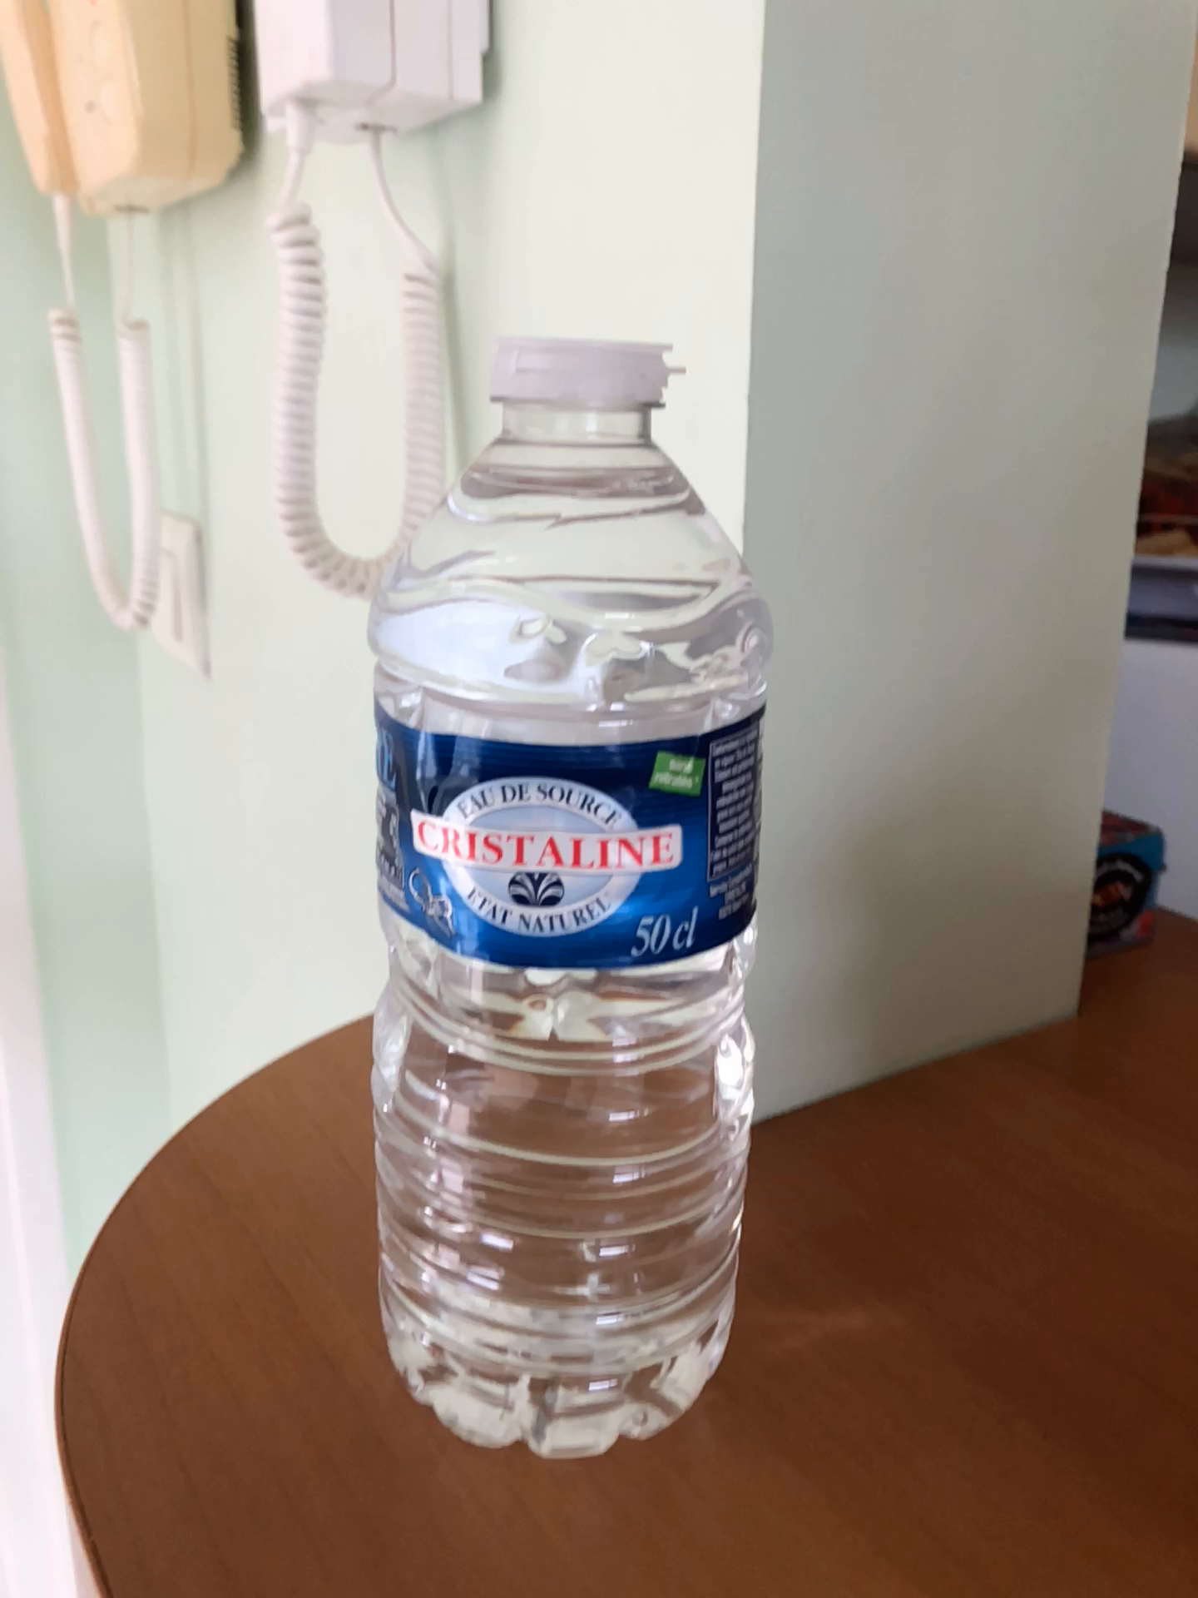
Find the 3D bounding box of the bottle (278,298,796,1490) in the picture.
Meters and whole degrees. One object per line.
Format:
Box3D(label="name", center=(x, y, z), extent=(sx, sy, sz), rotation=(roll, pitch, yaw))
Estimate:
Box3D(label="bottle", center=(-0.007, 0.015, 0.237), extent=(0.070, 0.189, 0.070), rotation=(1, 16, 0))
